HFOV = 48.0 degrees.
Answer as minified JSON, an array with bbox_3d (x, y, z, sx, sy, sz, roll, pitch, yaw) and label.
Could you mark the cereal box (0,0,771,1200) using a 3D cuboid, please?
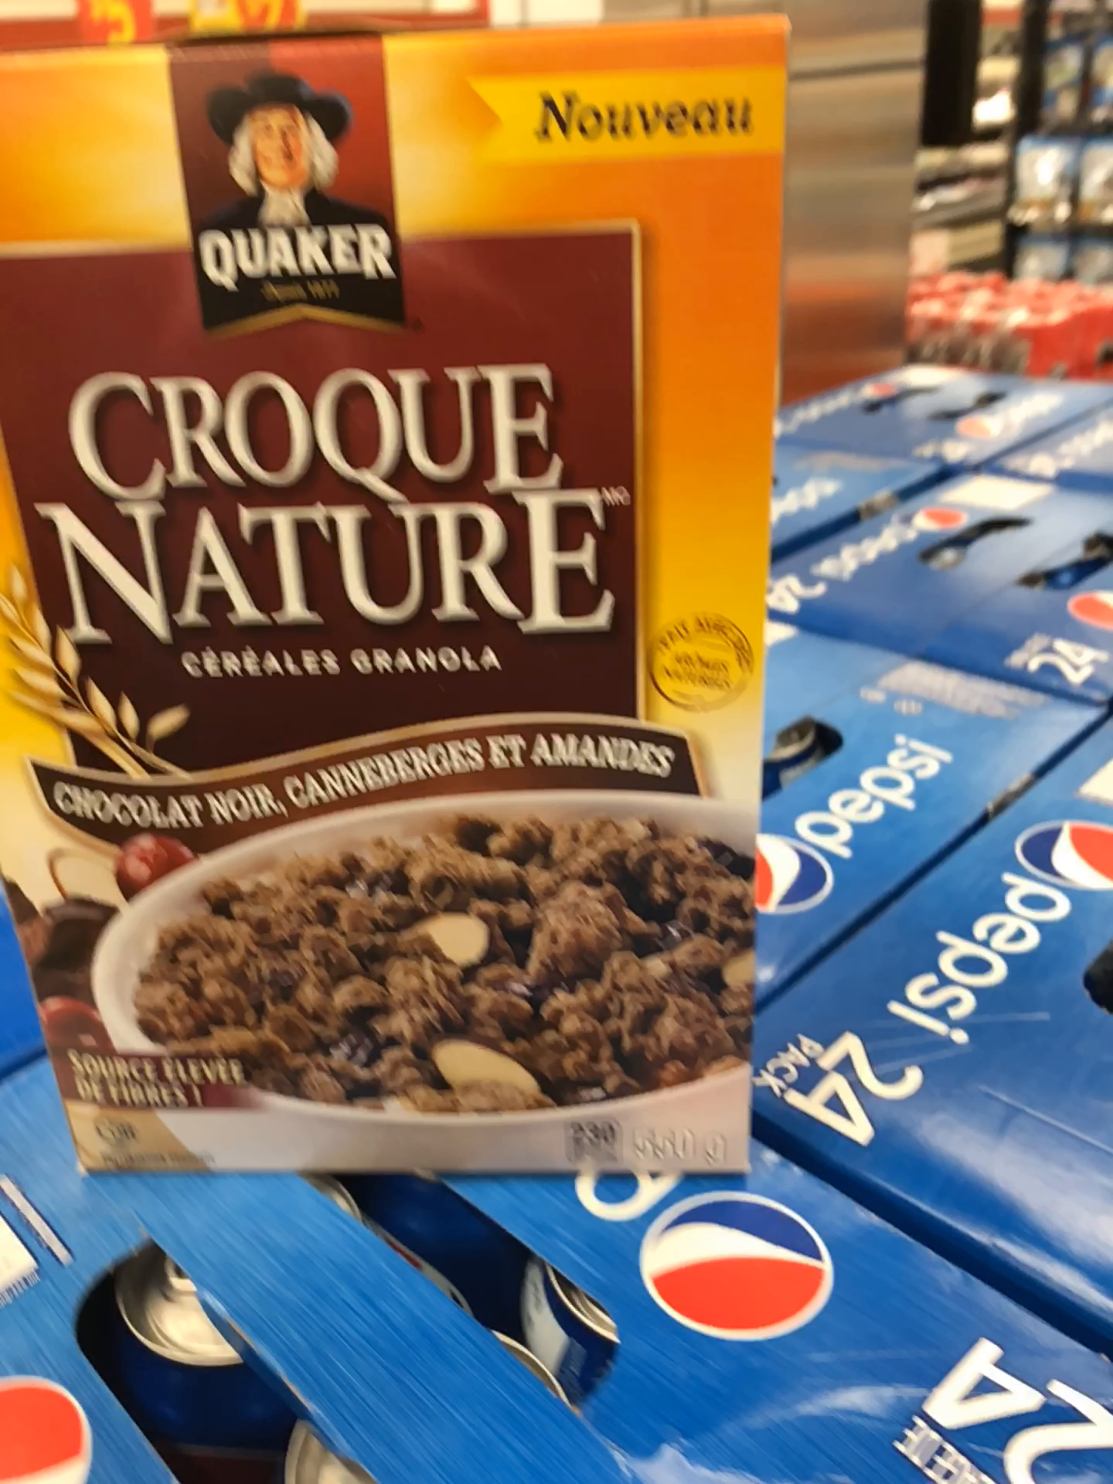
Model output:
[{"bbox_3d":[-0.041,-0.013,0.256,0.160,0.229,0.060,-2,27,5],"label":"cereal box"}]
